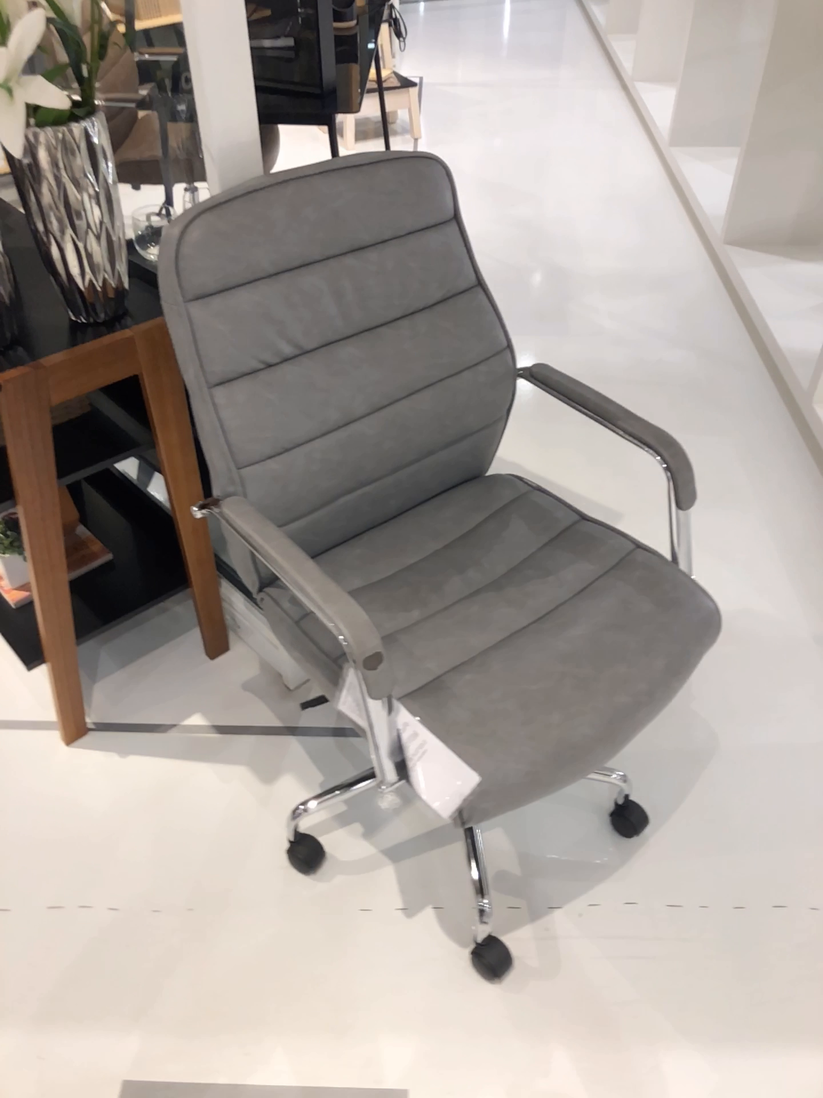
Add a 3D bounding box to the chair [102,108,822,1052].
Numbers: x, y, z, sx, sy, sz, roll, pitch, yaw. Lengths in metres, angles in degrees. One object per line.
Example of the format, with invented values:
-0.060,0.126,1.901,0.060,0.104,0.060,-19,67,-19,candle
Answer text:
0.088,0.053,1.223,0.602,0.992,0.553,-26,48,-27,chair
